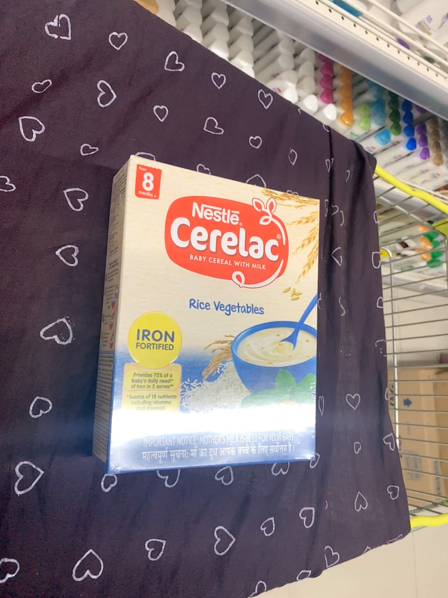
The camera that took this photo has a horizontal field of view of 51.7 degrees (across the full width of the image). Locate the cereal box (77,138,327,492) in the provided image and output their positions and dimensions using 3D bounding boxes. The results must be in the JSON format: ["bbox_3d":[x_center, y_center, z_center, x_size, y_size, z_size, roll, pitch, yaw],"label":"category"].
[{"bbox_3d":[-0.008,0.013,0.304,0.150,0.050,0.190,6,80,-28],"label":"cereal box"}]
